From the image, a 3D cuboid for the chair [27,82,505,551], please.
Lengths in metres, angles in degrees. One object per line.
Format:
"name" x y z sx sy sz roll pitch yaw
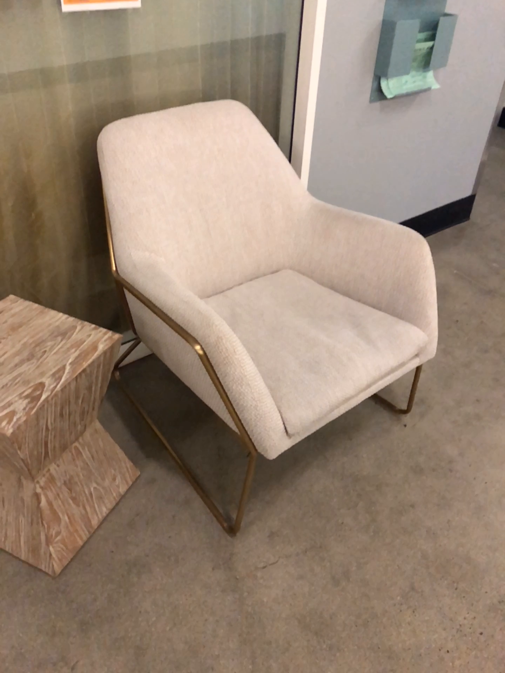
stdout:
"chair" 0.010 -0.164 1.619 0.832 0.816 0.893 -25 44 -32
